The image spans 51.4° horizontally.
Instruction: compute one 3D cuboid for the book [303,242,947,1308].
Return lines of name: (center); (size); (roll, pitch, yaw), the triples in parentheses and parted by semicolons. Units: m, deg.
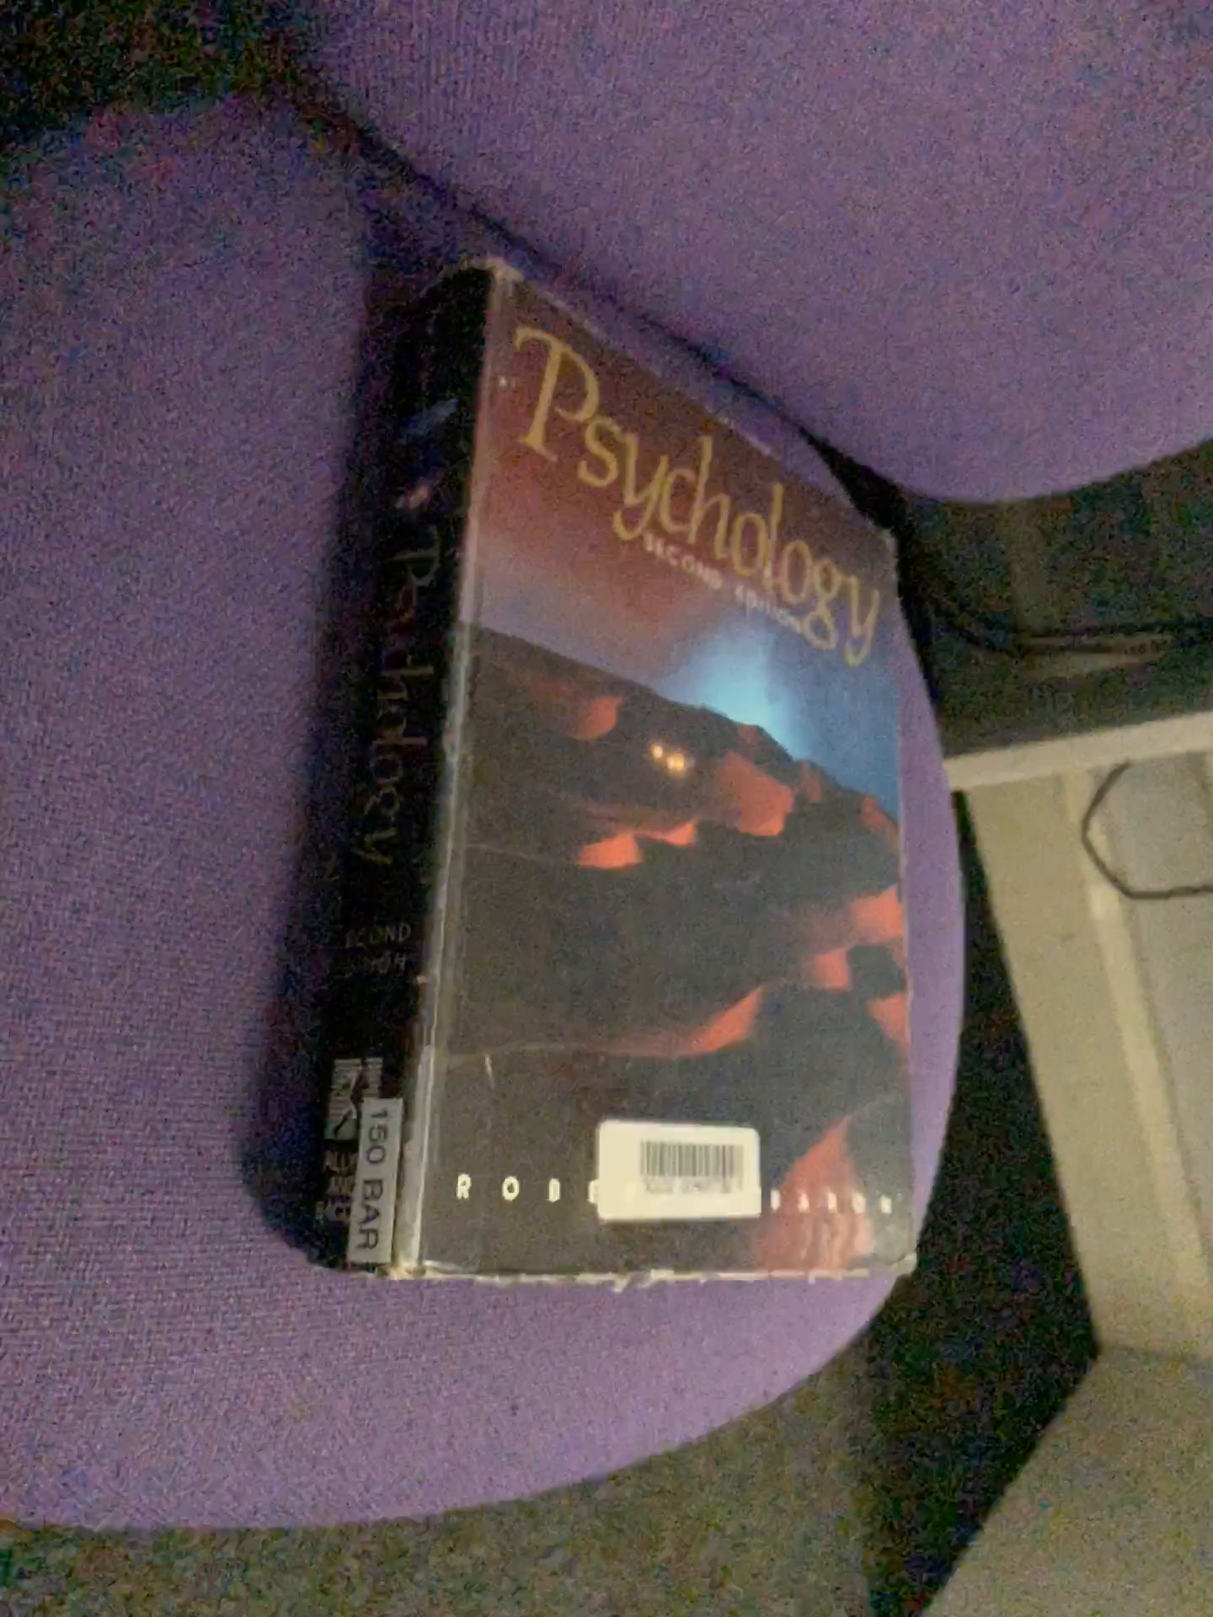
book: (0.032, 0.006, 0.407); (0.231, 0.040, 0.281); (20, 68, -42)
